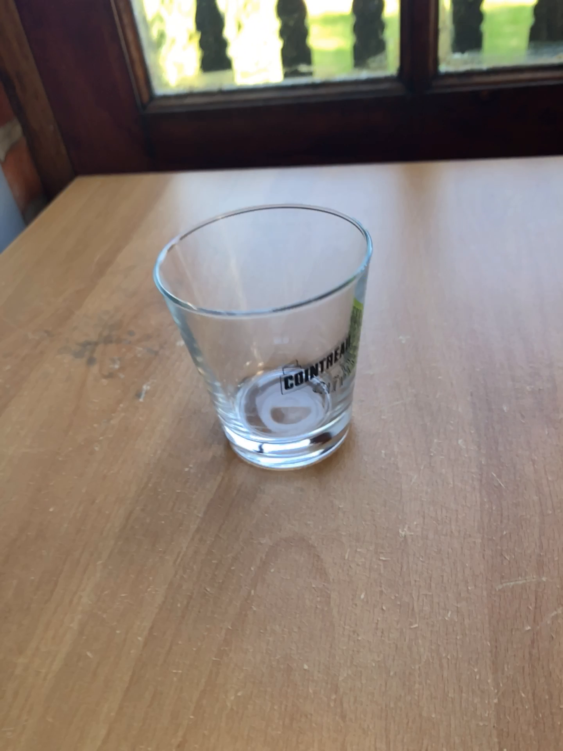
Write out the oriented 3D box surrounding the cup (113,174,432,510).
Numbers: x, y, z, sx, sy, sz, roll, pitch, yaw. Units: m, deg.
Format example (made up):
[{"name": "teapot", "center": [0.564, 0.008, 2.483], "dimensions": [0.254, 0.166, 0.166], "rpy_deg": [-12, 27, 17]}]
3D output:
[{"name": "cup", "center": [-0.001, -0.017, 0.235], "dimensions": [0.079, 0.073, 0.076], "rpy_deg": [-5, 40, 5]}]
